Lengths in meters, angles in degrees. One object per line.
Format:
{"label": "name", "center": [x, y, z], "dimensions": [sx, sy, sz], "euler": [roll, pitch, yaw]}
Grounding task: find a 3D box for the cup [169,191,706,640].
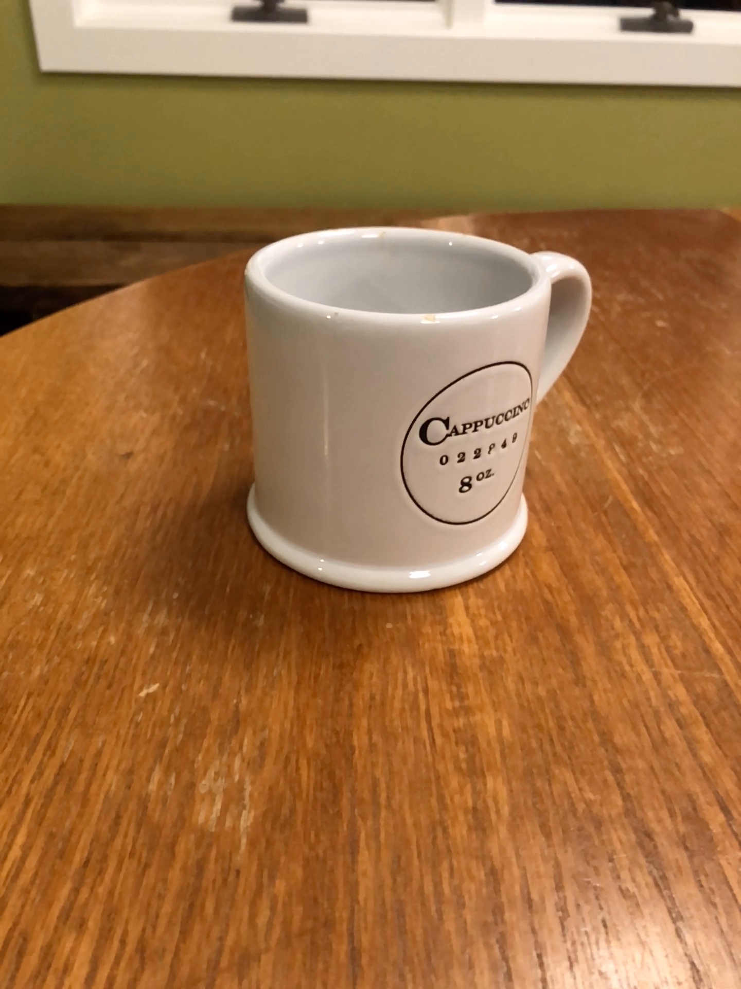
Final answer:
{"label": "cup", "center": [0.022, -0.038, 0.266], "dimensions": [0.136, 0.082, 0.090], "euler": [-24, 40, -35]}
